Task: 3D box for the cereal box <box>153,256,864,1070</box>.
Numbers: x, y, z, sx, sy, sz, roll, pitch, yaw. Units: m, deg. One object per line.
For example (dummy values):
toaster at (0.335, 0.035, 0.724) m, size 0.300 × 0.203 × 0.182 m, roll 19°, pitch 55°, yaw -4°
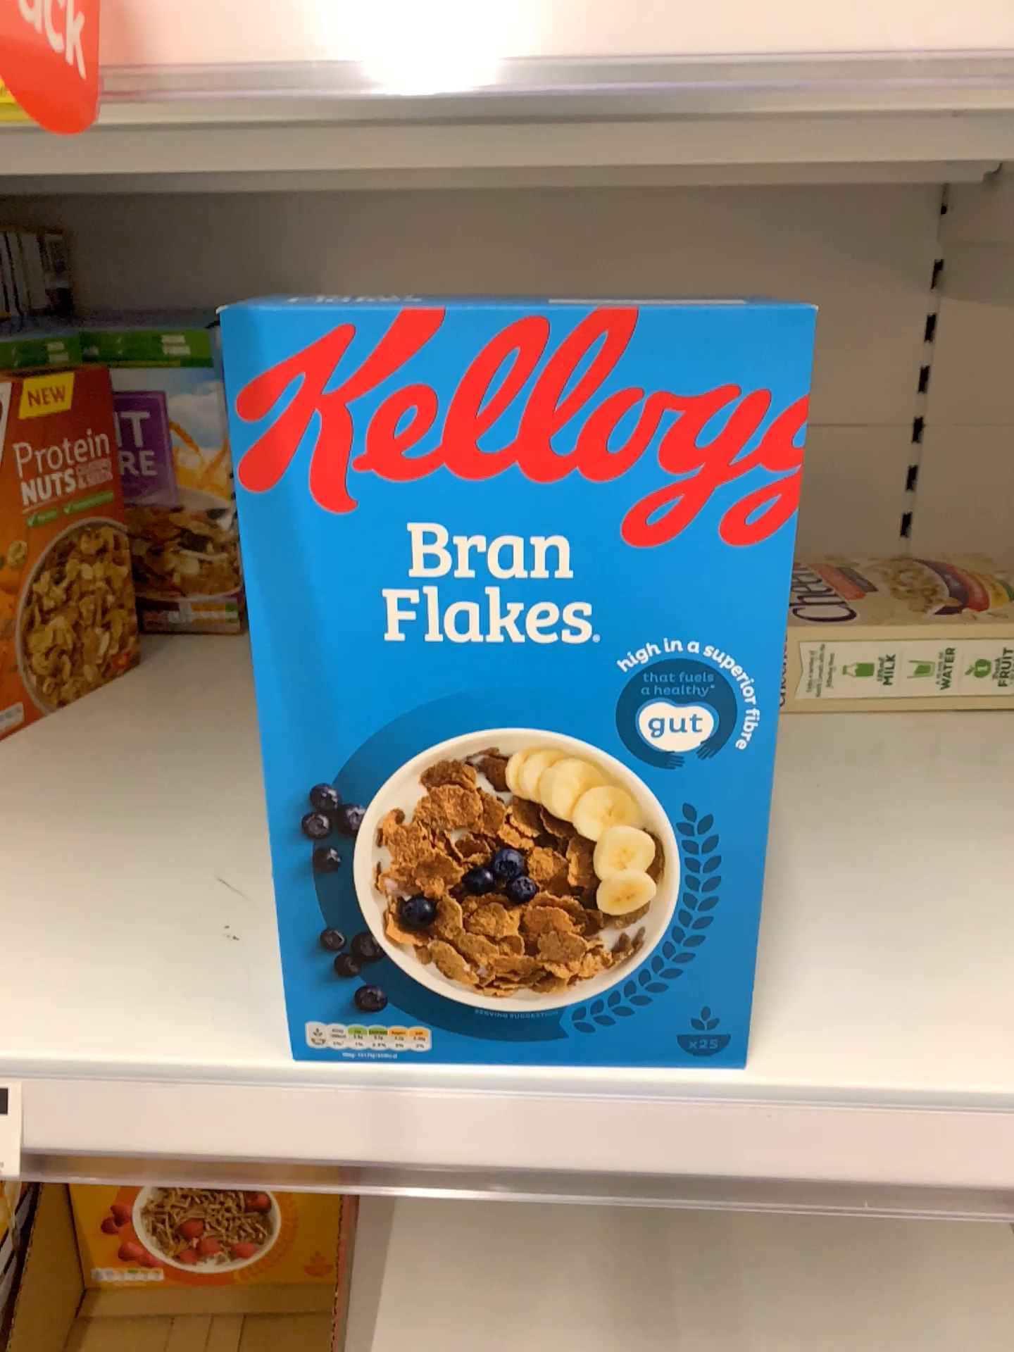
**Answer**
cereal box at (0.002, -0.001, 0.405) m, size 0.210 × 0.298 × 0.091 m, roll 0°, pitch 22°, yaw 2°
